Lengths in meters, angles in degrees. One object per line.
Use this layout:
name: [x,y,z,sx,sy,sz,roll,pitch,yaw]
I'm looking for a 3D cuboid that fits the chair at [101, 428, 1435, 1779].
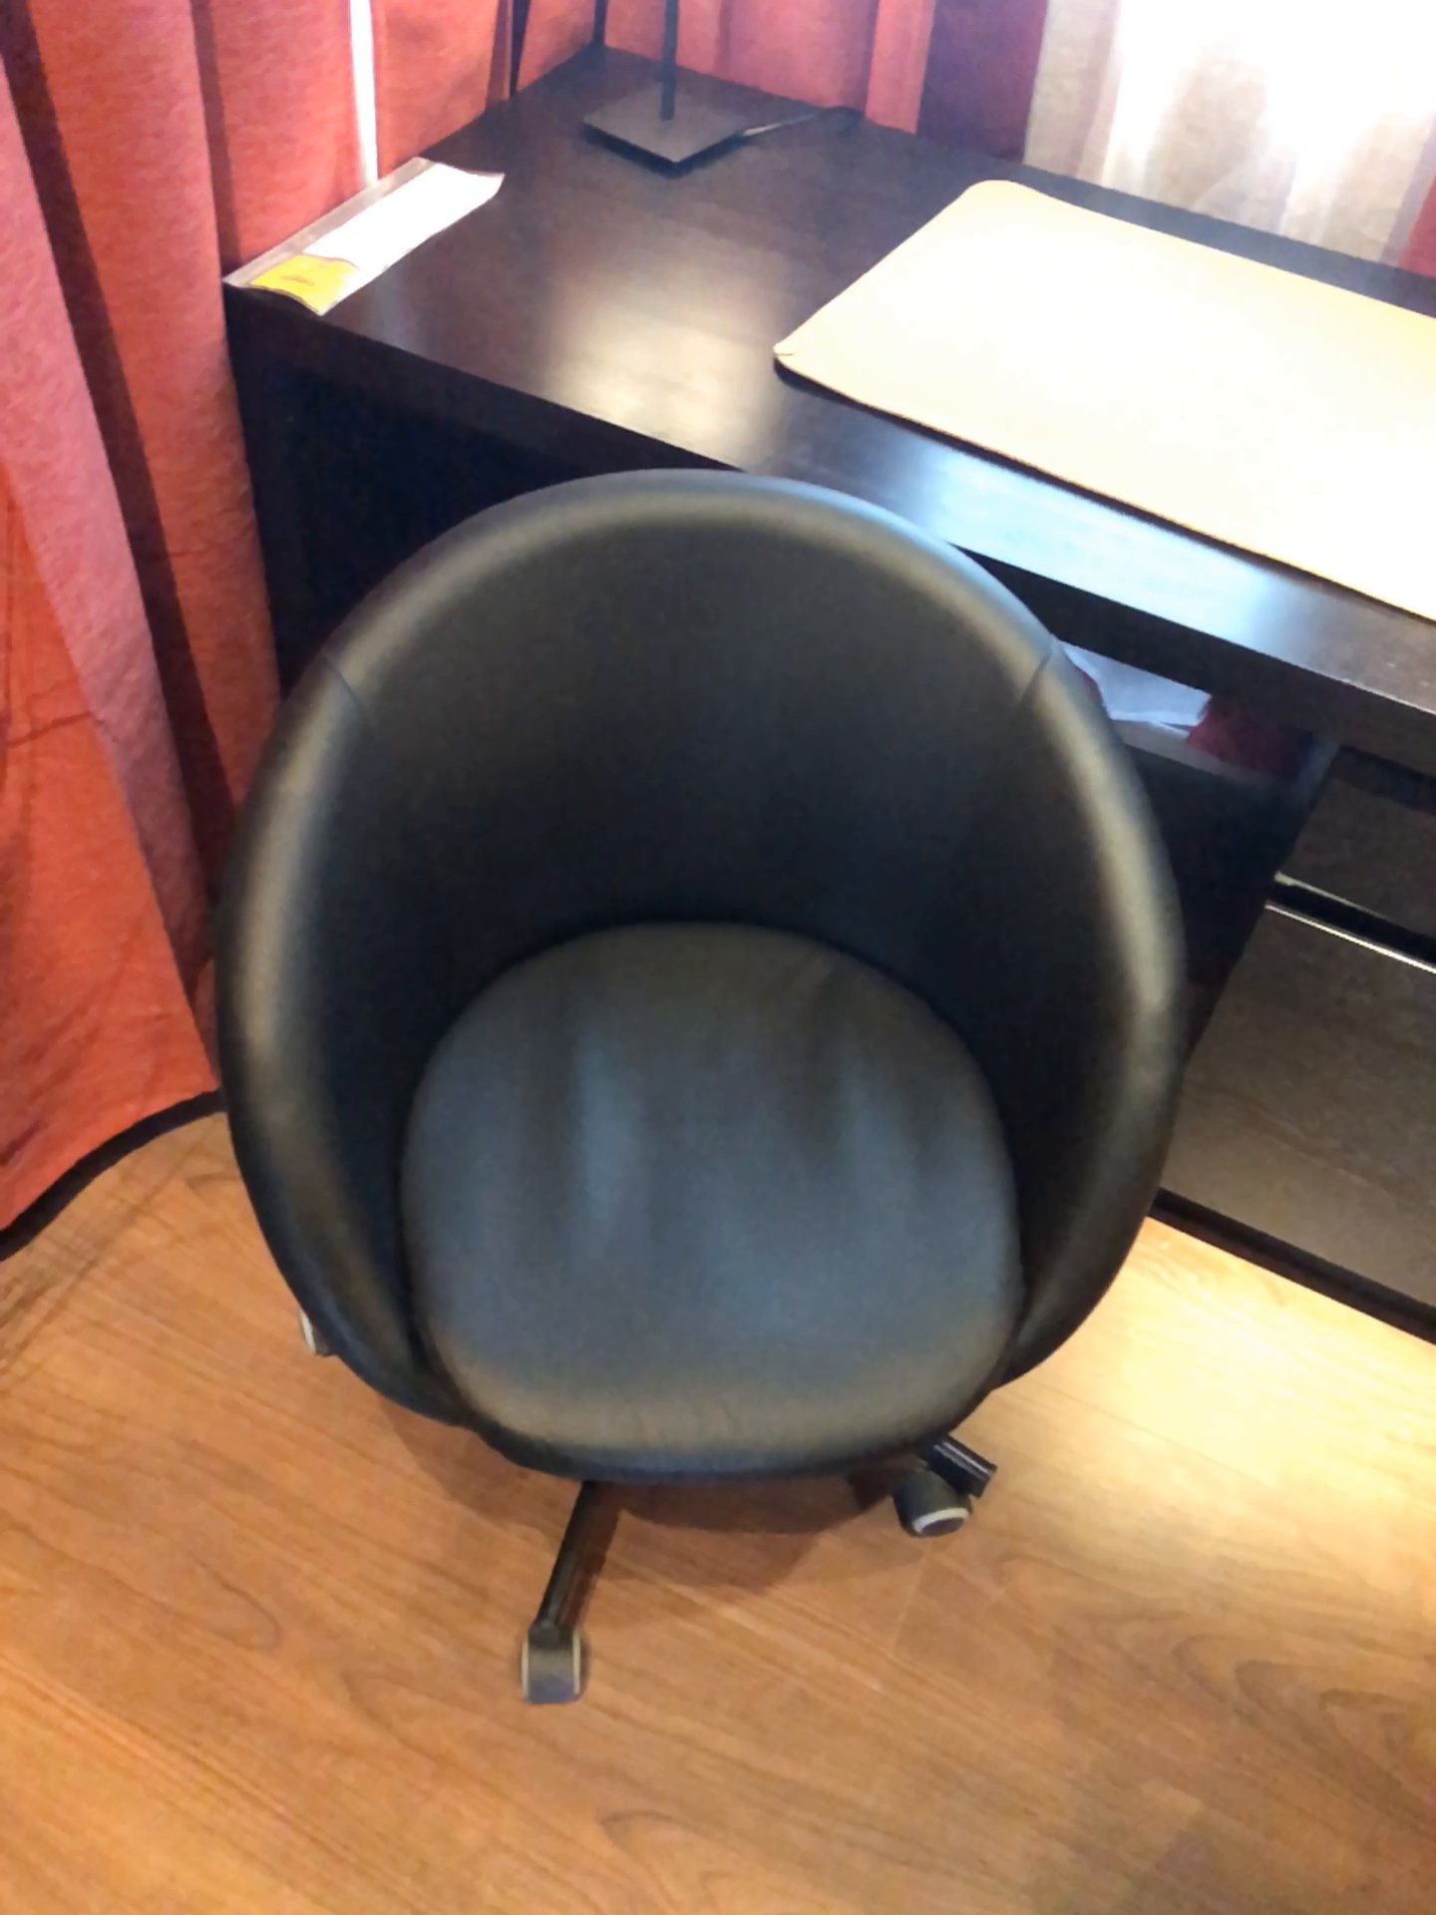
chair: [0.016,0.115,1.074,0.630,0.696,0.573,-4,50,-9]
